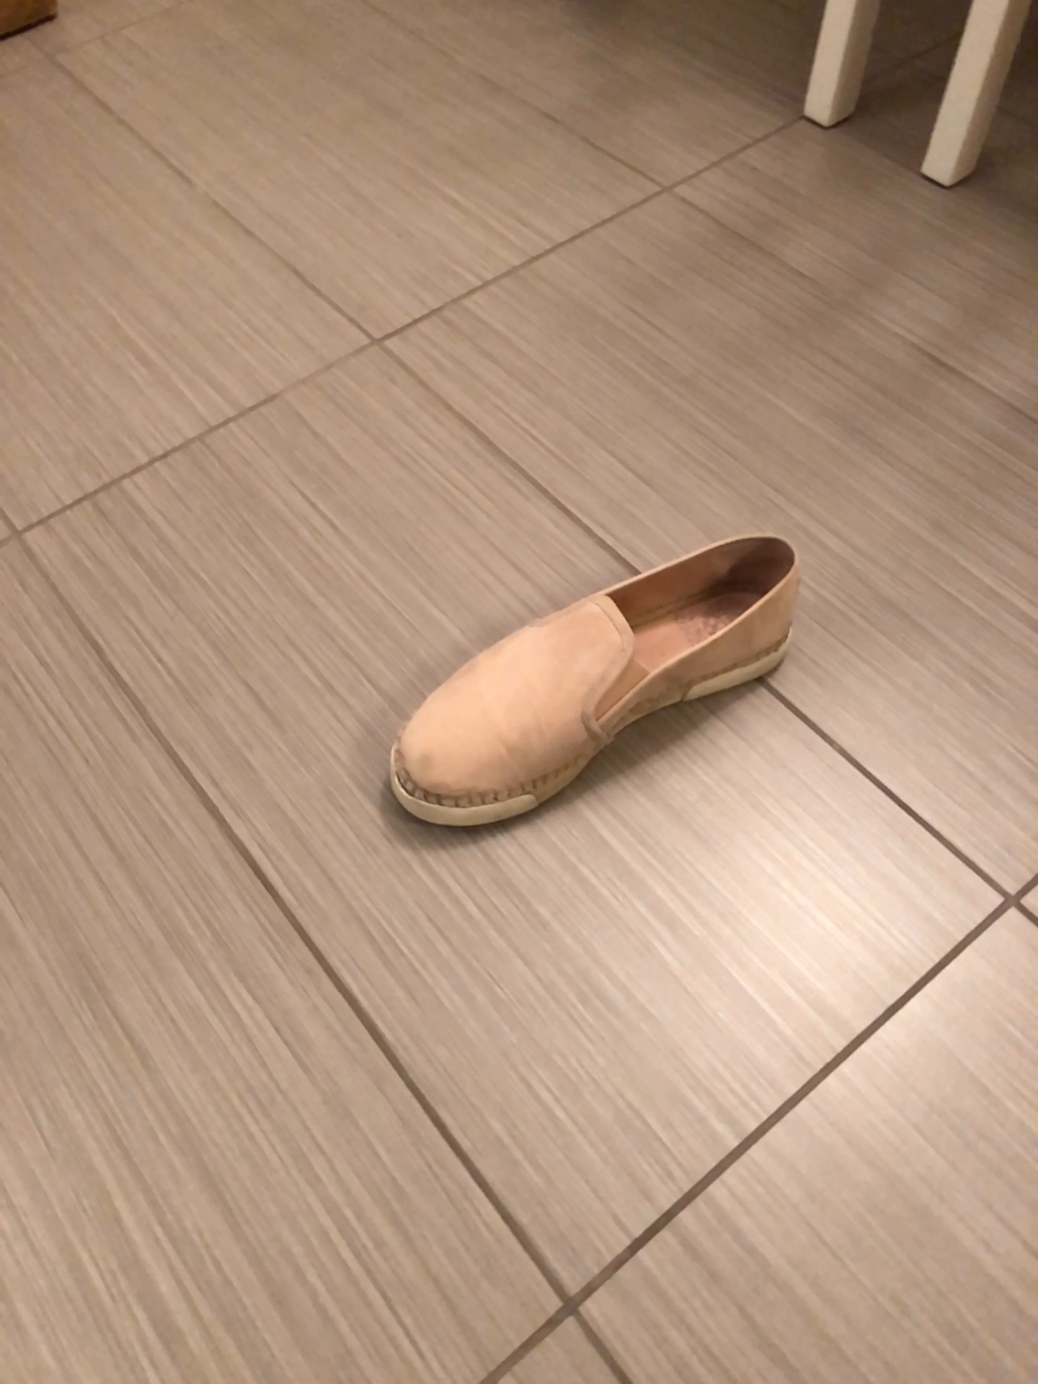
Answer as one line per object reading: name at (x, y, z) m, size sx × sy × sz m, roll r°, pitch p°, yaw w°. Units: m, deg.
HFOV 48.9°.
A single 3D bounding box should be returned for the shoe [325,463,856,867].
shoe at (0.042, -0.021, 0.649) m, size 0.270 × 0.070 × 0.110 m, roll -26°, pitch 57°, yaw -14°
